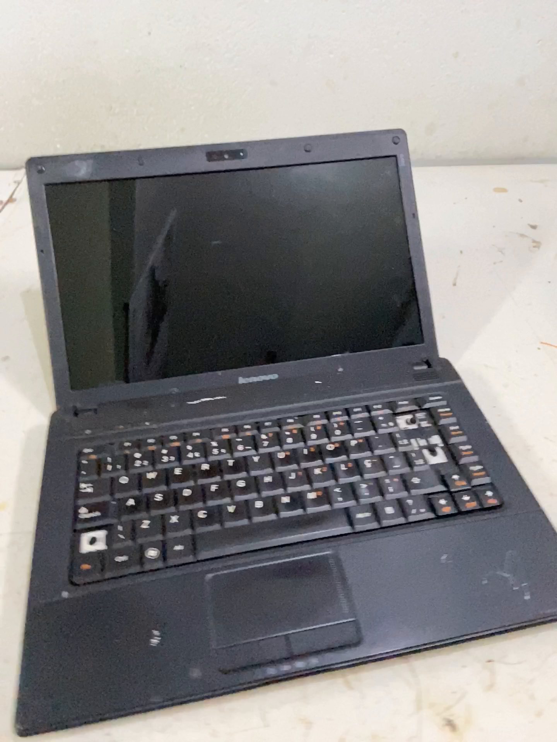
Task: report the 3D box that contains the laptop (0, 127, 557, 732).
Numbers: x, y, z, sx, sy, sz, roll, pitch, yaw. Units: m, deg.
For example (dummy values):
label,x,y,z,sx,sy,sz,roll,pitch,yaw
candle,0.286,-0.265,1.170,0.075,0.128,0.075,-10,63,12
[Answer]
label,x,y,z,sx,sy,sz,roll,pitch,yaw
laptop,-0.008,-0.023,0.439,0.357,0.147,0.424,-8,43,-8
